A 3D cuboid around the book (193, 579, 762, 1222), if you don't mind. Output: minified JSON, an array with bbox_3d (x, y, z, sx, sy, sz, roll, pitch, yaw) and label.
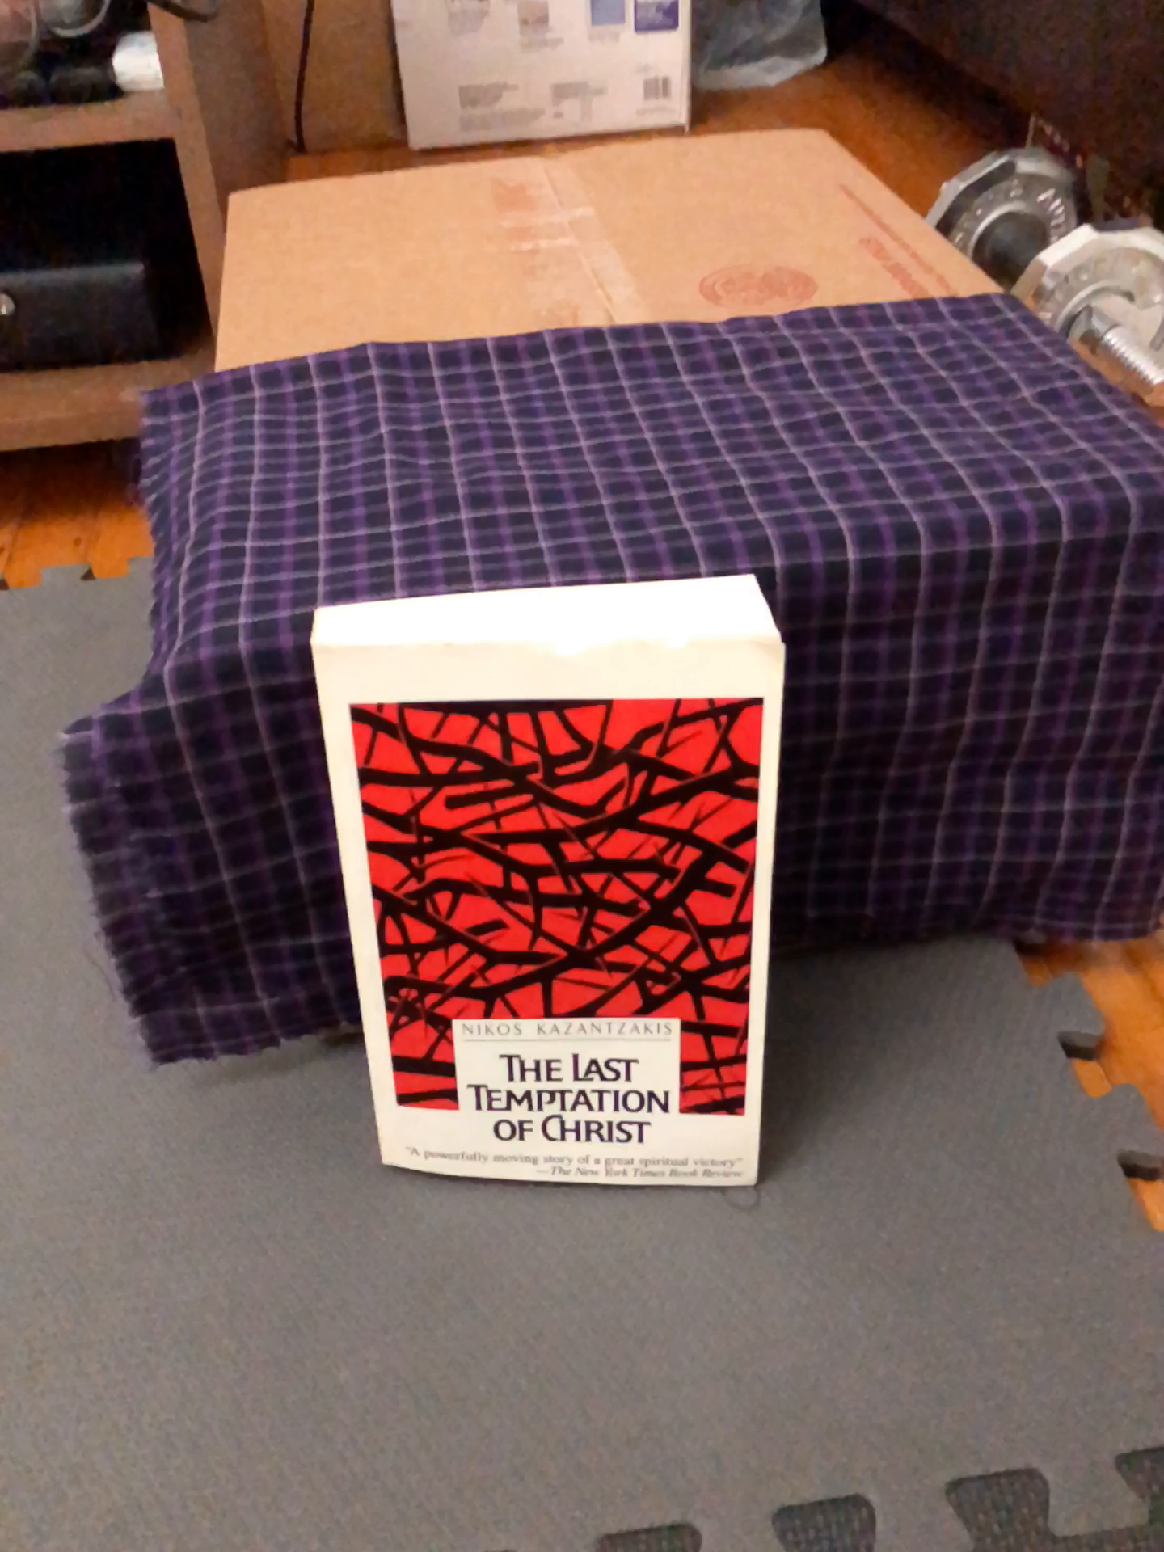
[{"bbox_3d":[-0.020,0.045,0.411,0.150,0.209,0.050,1,31,11],"label":"book"}]
